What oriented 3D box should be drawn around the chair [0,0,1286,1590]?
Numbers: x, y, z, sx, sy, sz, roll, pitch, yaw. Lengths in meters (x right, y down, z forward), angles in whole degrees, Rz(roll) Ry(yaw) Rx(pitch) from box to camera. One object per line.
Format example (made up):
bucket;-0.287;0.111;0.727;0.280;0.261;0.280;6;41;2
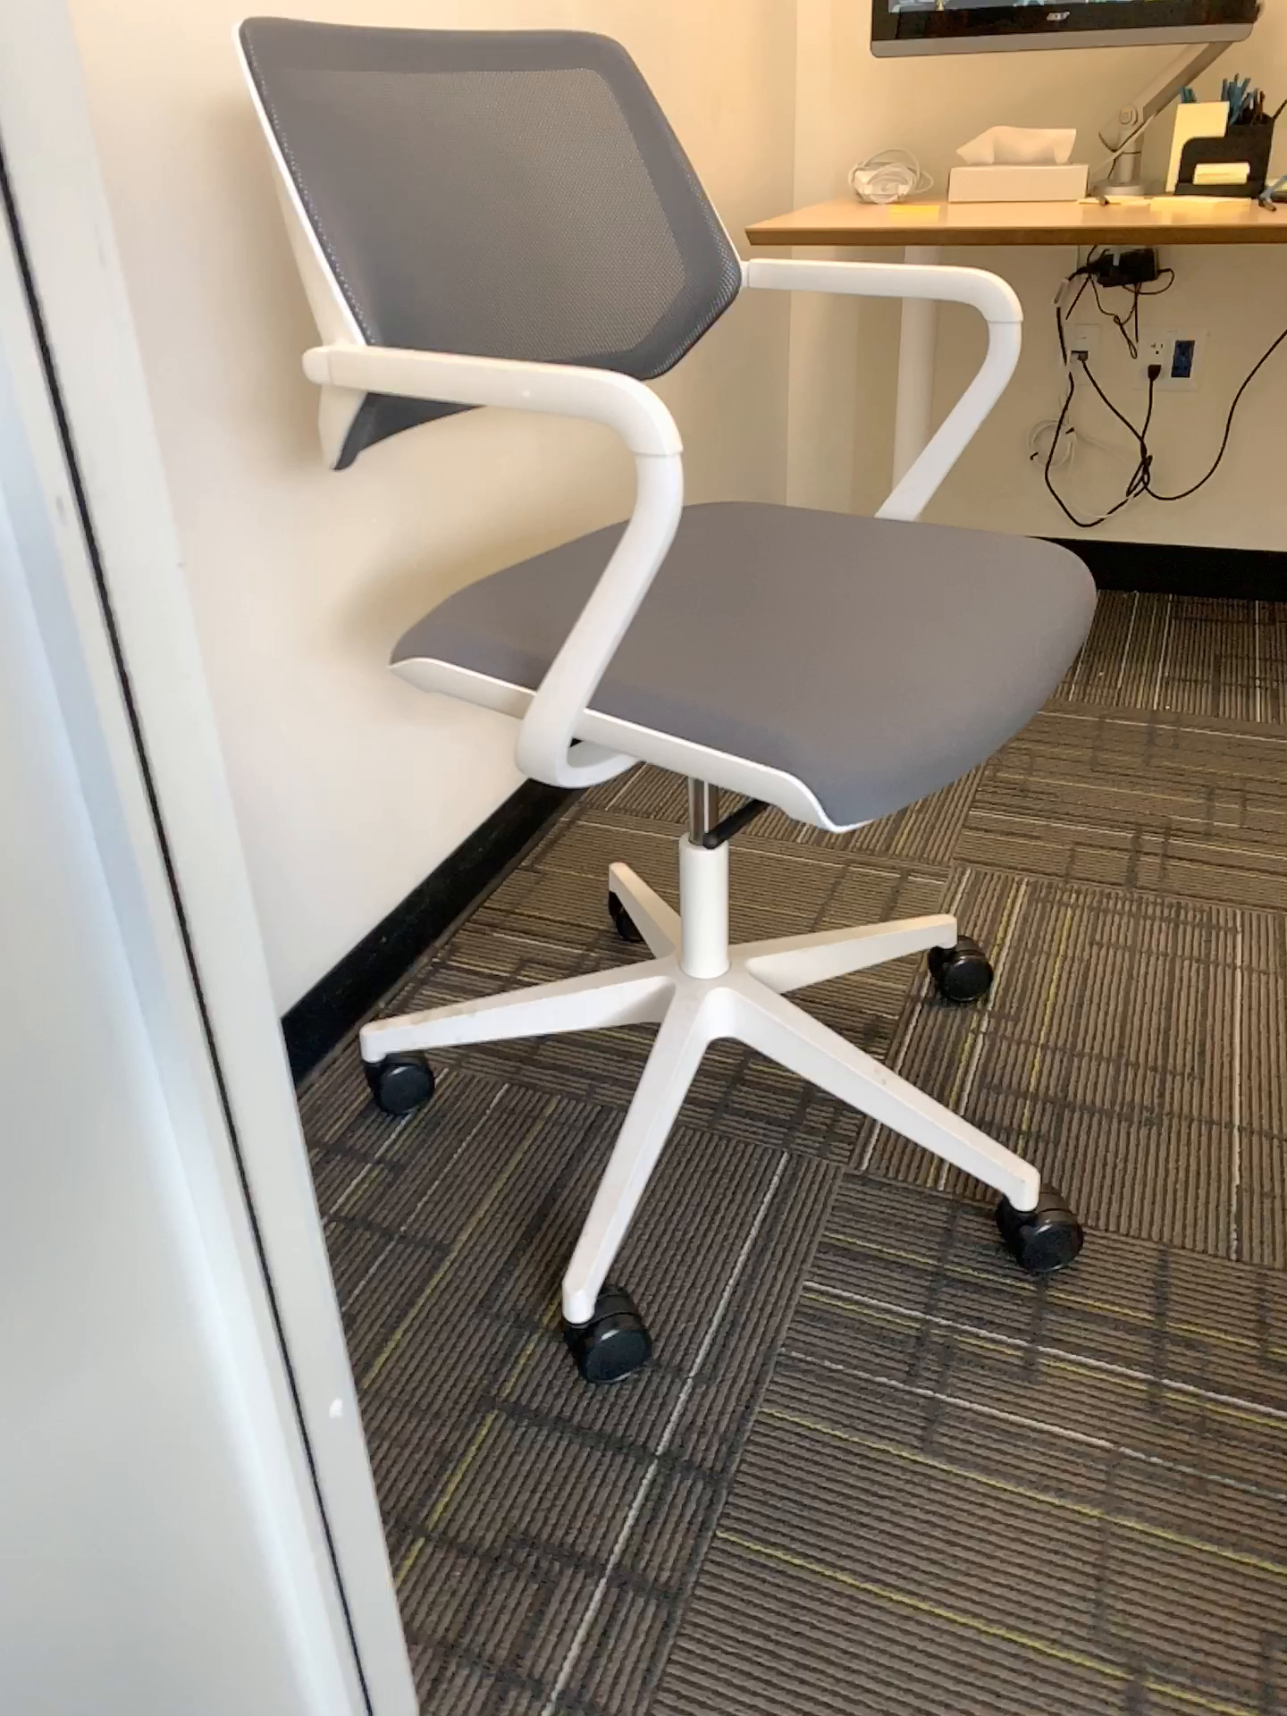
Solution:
chair;0.055;-0.184;1.099;0.802;0.914;0.803;13;33;23
